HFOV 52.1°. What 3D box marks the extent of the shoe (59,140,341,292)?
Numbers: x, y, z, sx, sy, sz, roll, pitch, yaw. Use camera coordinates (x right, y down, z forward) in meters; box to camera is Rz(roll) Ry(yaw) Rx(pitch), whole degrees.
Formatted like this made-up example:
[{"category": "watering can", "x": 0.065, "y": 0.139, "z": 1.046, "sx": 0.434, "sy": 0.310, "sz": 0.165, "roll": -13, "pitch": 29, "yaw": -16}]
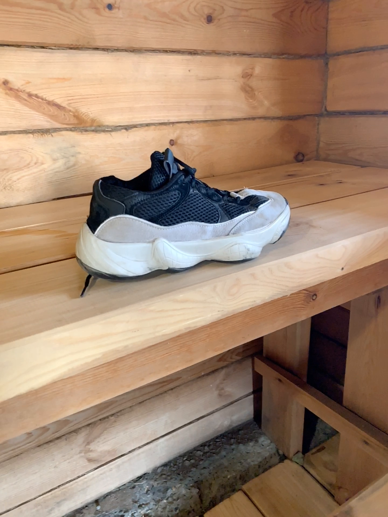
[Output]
[{"category": "shoe", "x": 0.006, "y": -0.062, "z": 0.433, "sx": 0.270, "sy": 0.109, "sz": 0.121, "roll": -10, "pitch": 21, "yaw": -20}]
